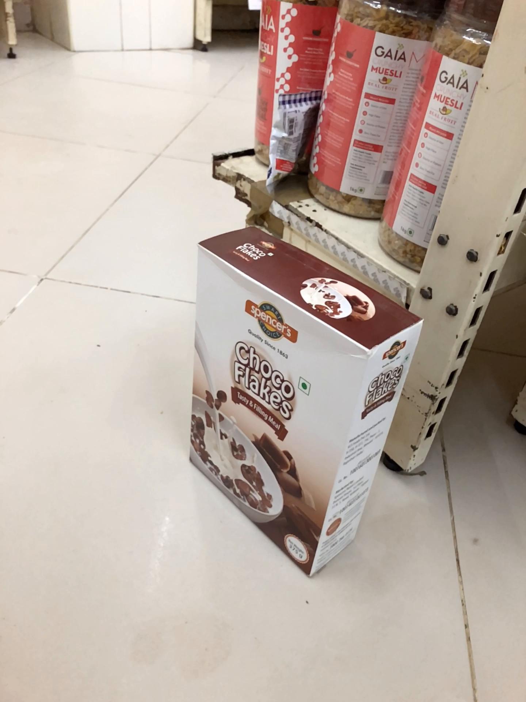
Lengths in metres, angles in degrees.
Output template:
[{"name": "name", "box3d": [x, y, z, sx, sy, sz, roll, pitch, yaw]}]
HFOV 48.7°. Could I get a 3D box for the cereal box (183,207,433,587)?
[{"name": "cereal box", "box3d": [0.014, 0.040, 0.489, 0.060, 0.258, 0.190, -25, 46, -35]}]
